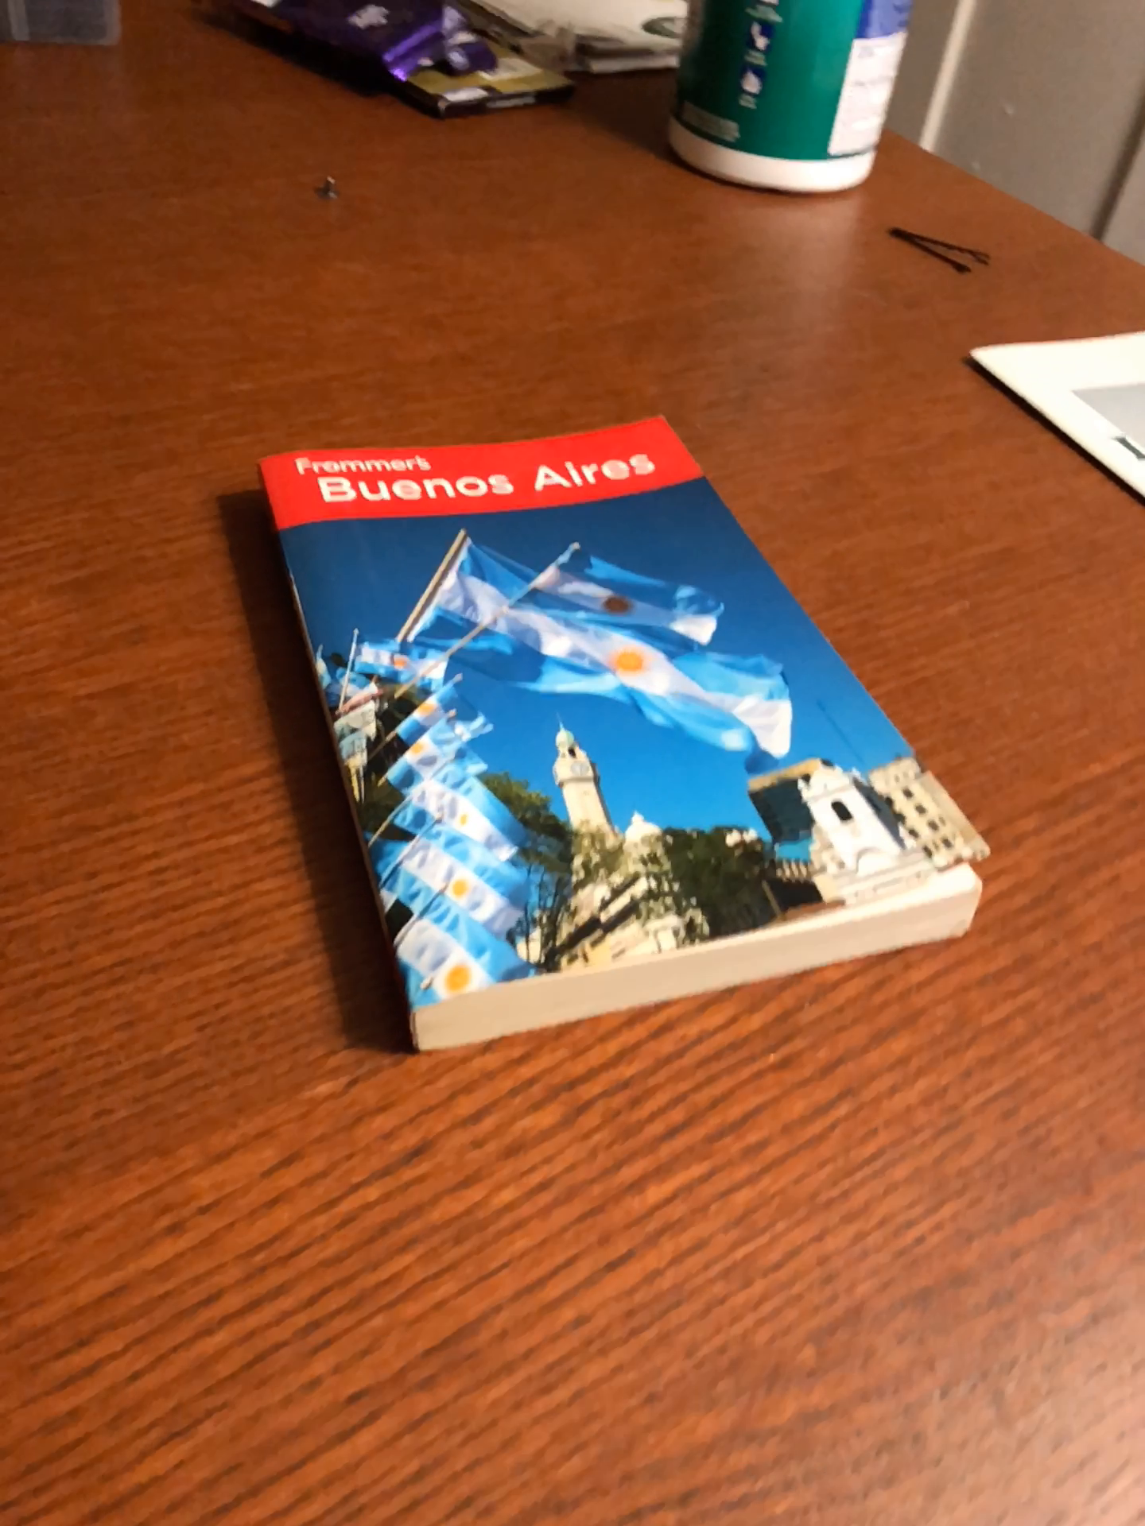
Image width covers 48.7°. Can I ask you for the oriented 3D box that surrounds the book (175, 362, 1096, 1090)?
[{"bbox_3d":[-0.003,-0.036,0.321,0.160,0.020,0.221,-10,46,-19],"label":"book"}]
